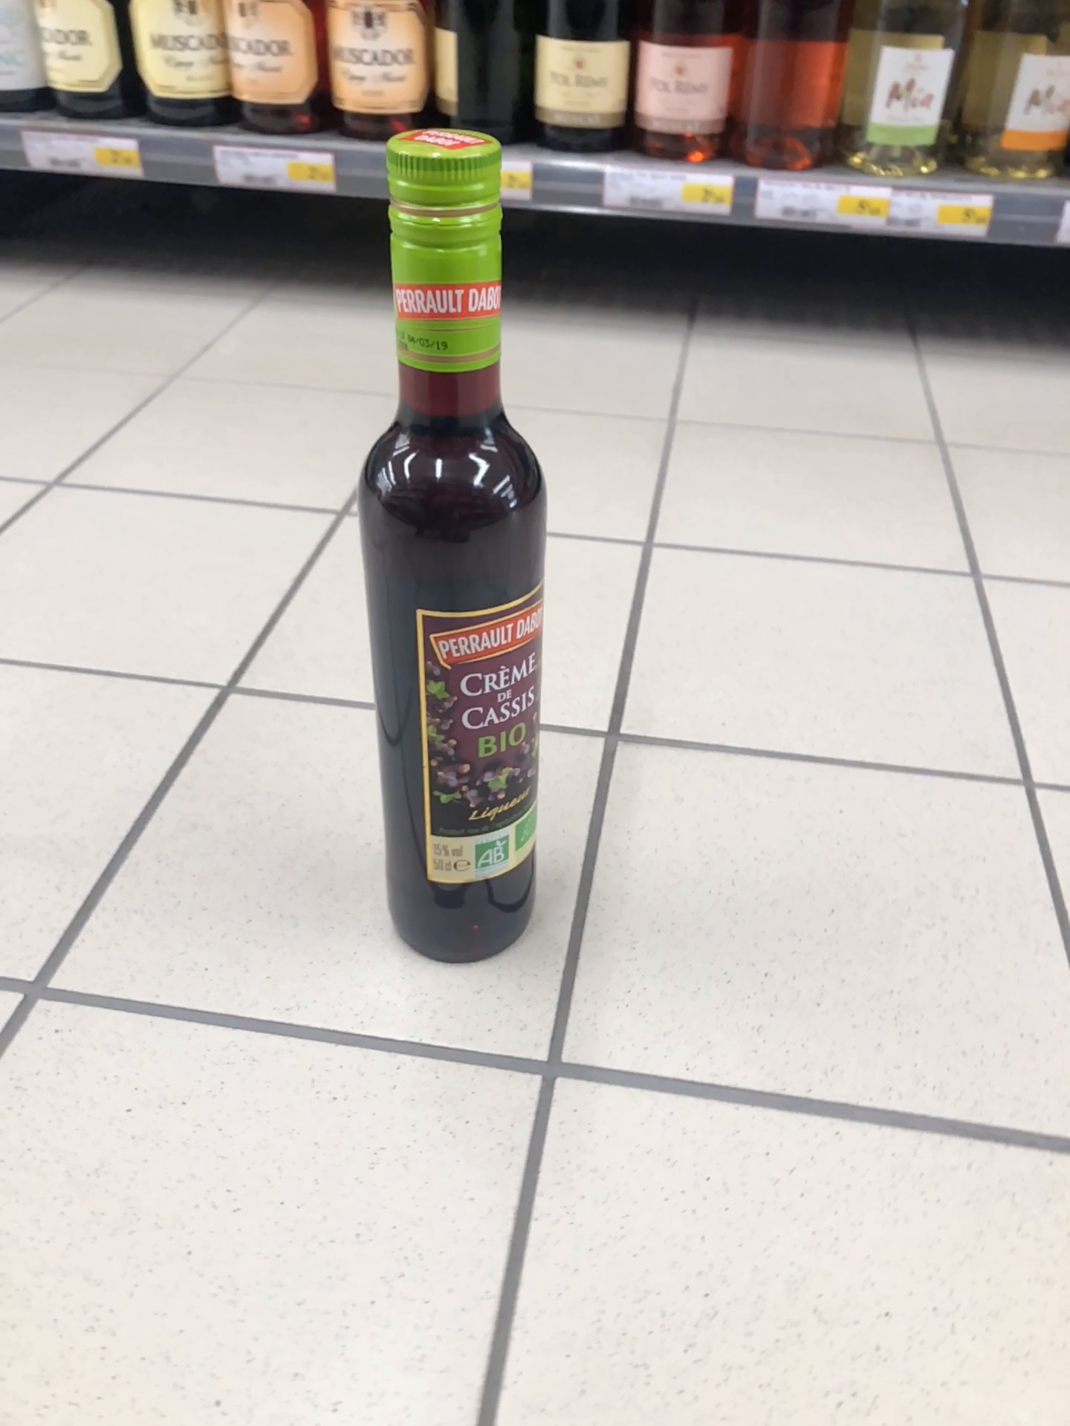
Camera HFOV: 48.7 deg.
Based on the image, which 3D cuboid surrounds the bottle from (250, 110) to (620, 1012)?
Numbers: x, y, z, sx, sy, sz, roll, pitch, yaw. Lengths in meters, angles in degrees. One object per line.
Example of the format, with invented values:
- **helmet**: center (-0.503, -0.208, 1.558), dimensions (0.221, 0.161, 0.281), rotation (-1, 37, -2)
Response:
- **bottle**: center (-0.030, -0.035, 0.398), dimensions (0.070, 0.288, 0.070), rotation (1, 35, -1)
